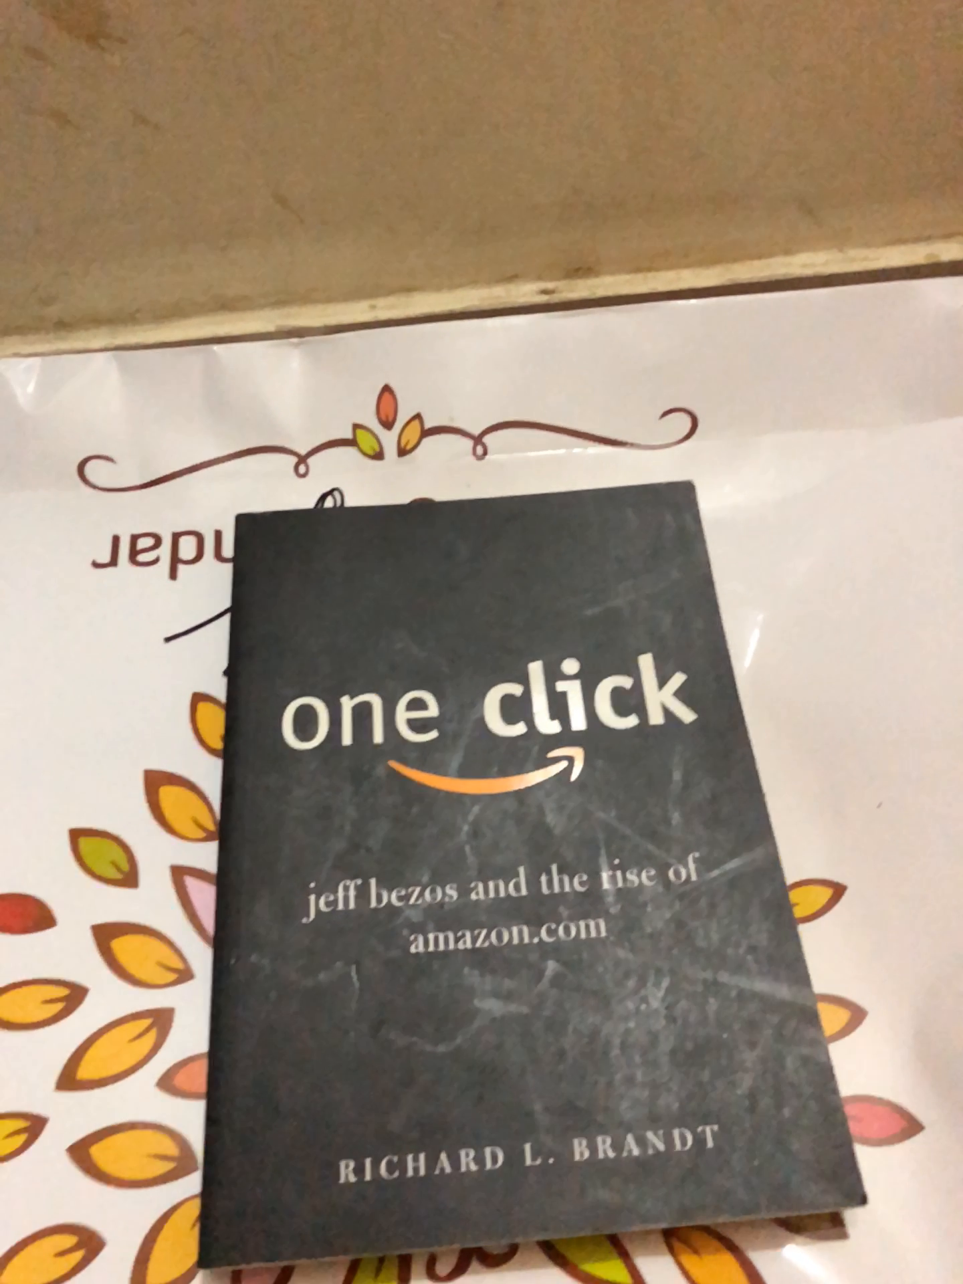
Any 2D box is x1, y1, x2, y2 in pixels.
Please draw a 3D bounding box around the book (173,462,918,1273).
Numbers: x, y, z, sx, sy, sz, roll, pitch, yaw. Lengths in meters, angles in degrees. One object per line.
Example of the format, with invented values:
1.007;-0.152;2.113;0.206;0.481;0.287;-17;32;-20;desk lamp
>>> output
0.008;0.043;0.301;0.160;0.020;0.221;-5;55;1;book
